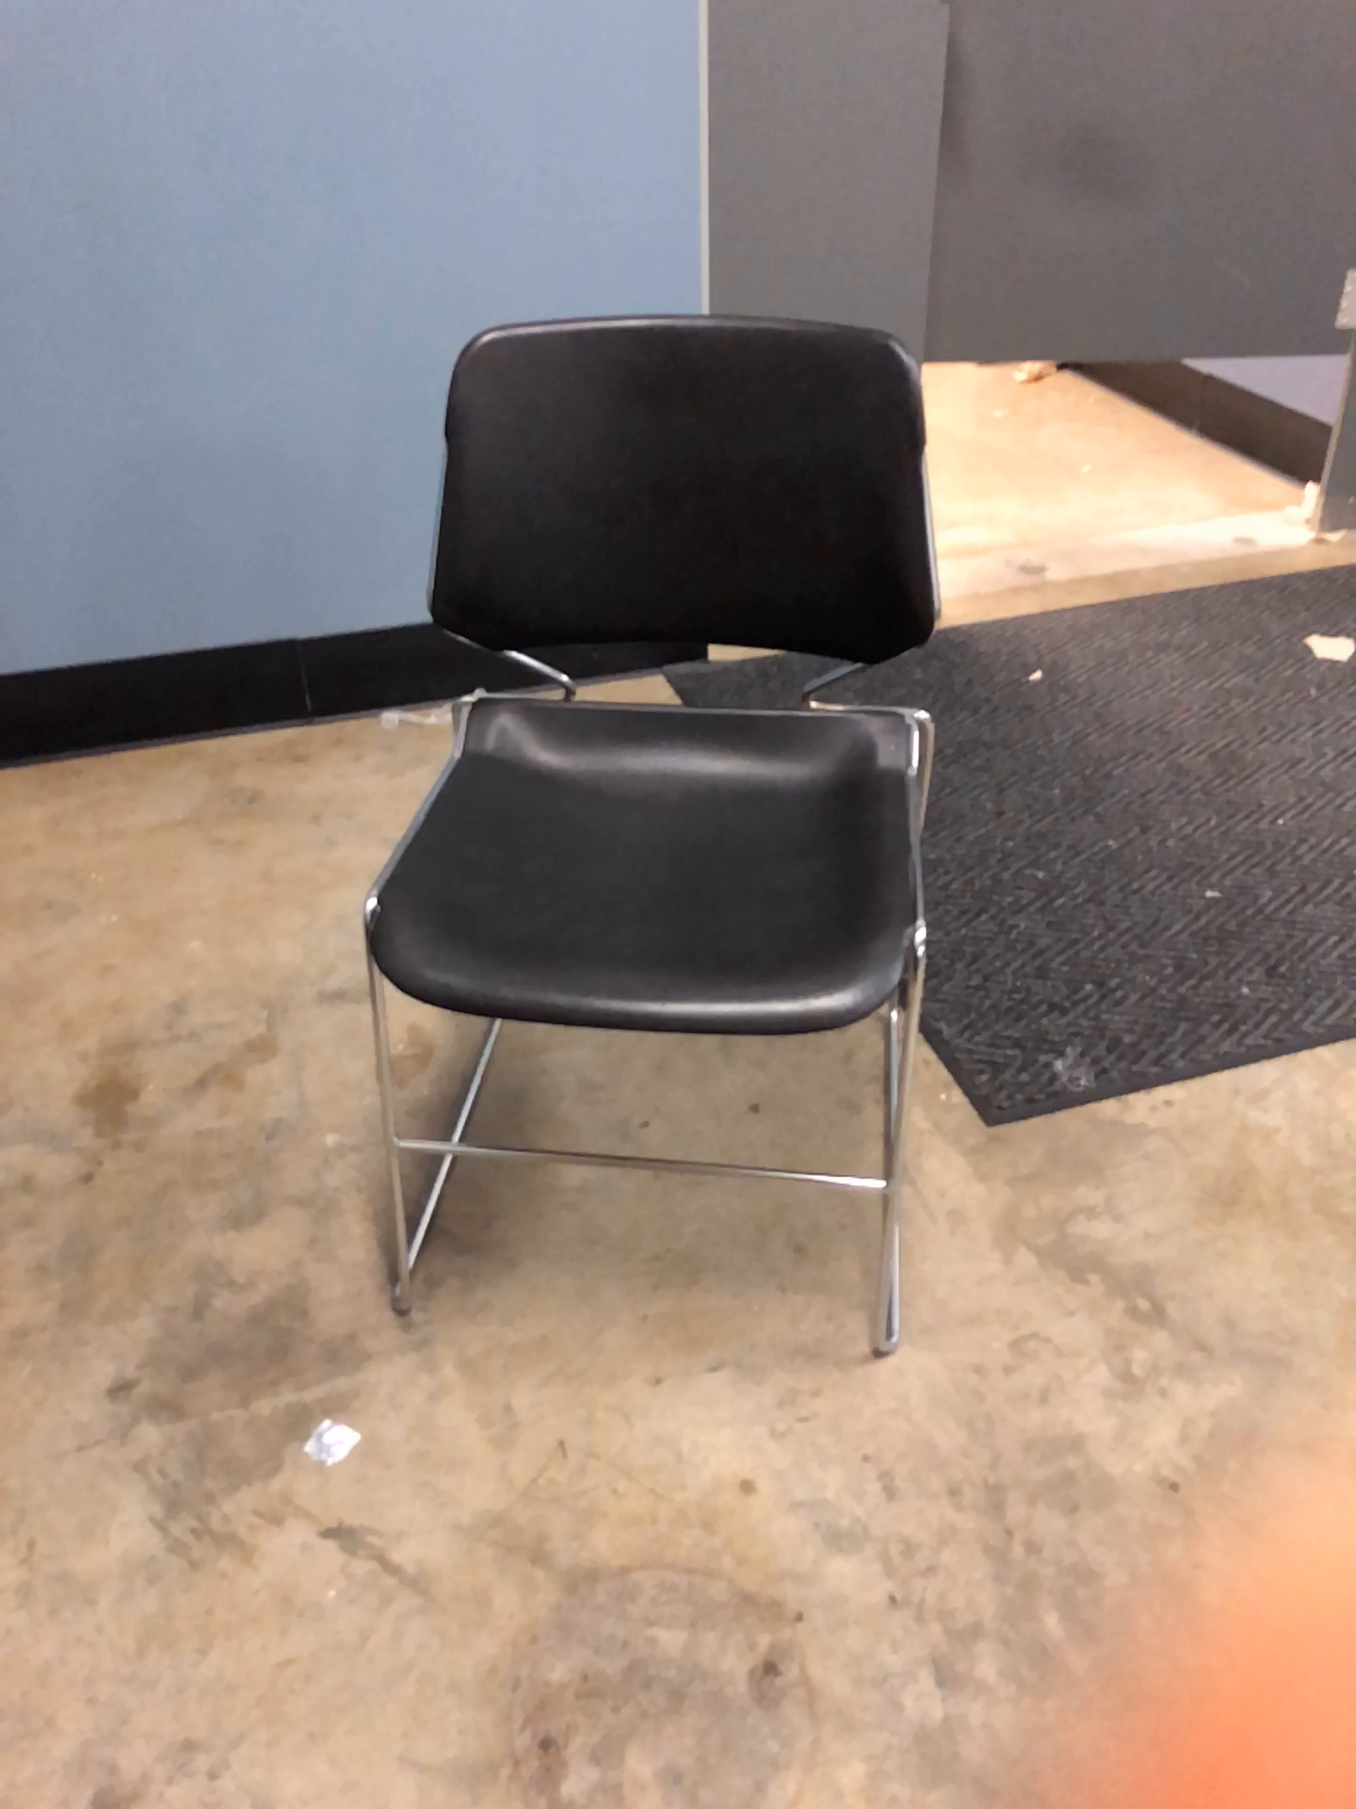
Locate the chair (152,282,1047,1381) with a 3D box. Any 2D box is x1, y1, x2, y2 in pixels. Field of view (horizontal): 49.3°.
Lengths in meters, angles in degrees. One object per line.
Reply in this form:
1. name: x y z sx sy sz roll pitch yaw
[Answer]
1. chair: -0.017 -0.078 1.297 0.524 0.765 0.552 3 34 6
